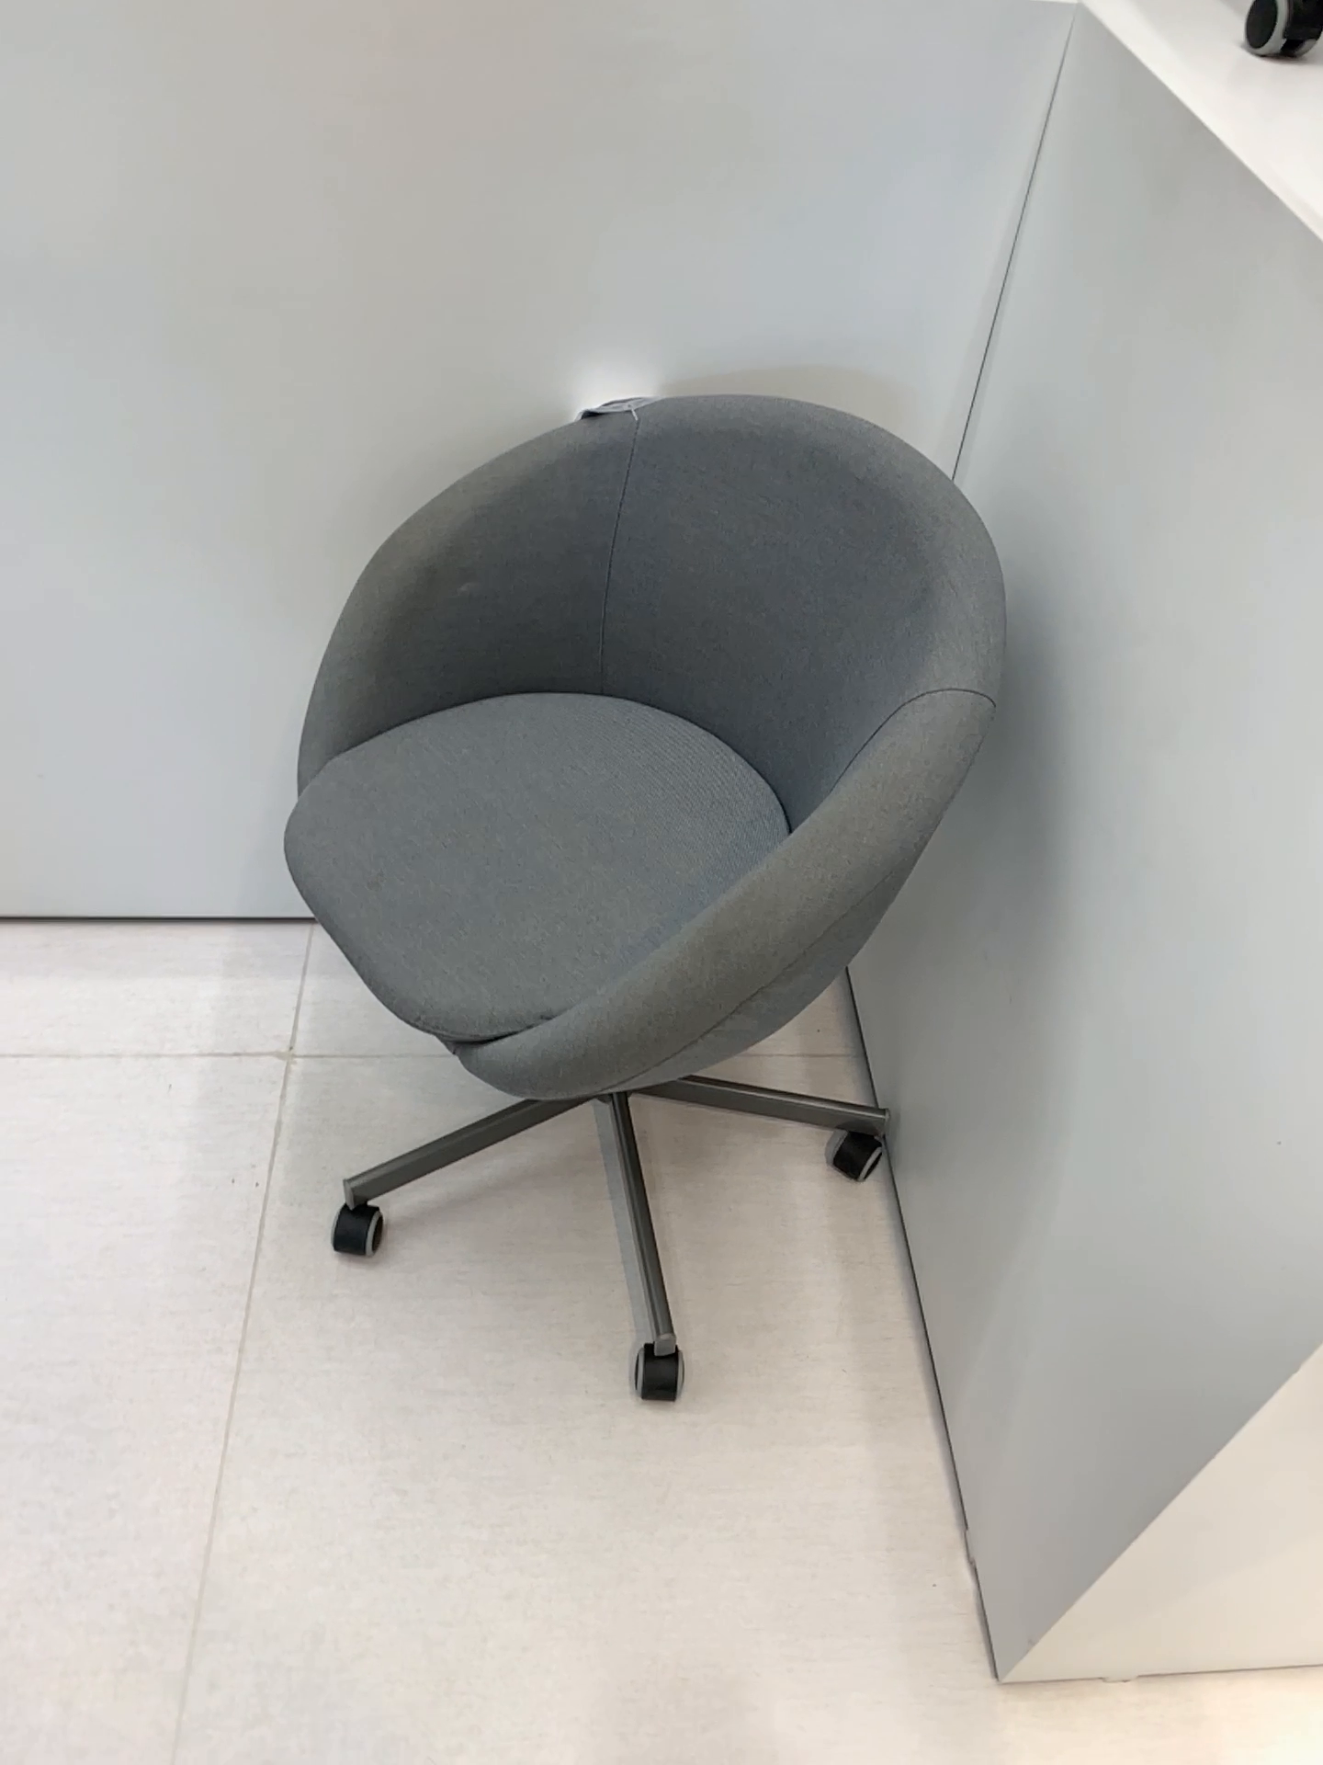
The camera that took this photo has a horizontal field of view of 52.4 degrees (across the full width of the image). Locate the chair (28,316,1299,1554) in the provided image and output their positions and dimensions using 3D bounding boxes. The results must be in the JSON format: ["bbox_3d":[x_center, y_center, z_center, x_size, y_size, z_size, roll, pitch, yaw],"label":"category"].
[{"bbox_3d":[-0.012,0.004,1.432,0.832,0.767,0.721,-30,56,-31],"label":"chair"}]
